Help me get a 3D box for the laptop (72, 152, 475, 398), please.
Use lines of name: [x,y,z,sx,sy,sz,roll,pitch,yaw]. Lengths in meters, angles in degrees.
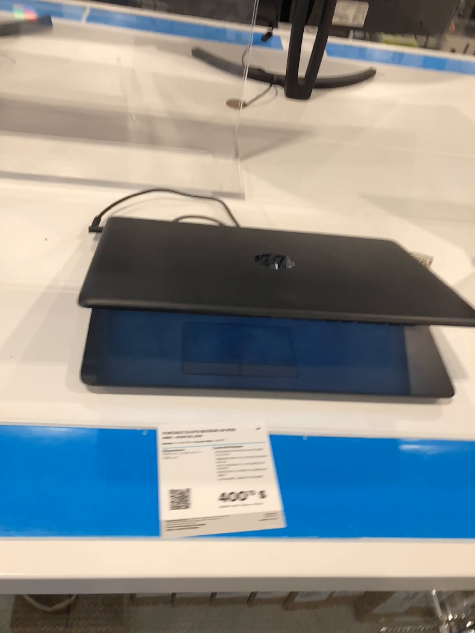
laptop: [0.042,-0.044,0.538,0.366,0.092,0.235,4,46,-12]
